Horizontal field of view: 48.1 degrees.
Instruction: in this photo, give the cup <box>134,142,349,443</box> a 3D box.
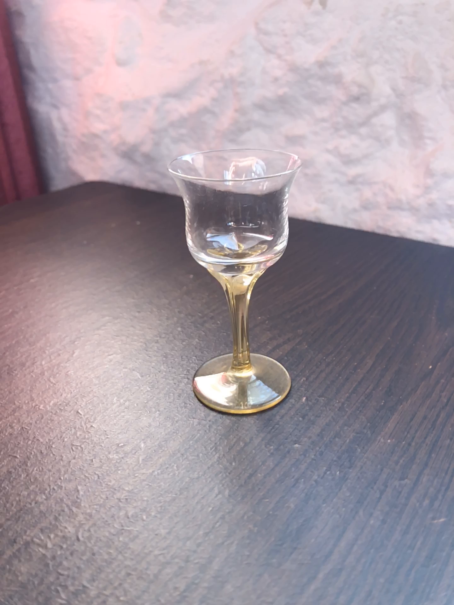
[{"bbox_3d":[0.008,-0.008,0.197,0.051,0.093,0.059,16,30,32],"label":"cup"}]
